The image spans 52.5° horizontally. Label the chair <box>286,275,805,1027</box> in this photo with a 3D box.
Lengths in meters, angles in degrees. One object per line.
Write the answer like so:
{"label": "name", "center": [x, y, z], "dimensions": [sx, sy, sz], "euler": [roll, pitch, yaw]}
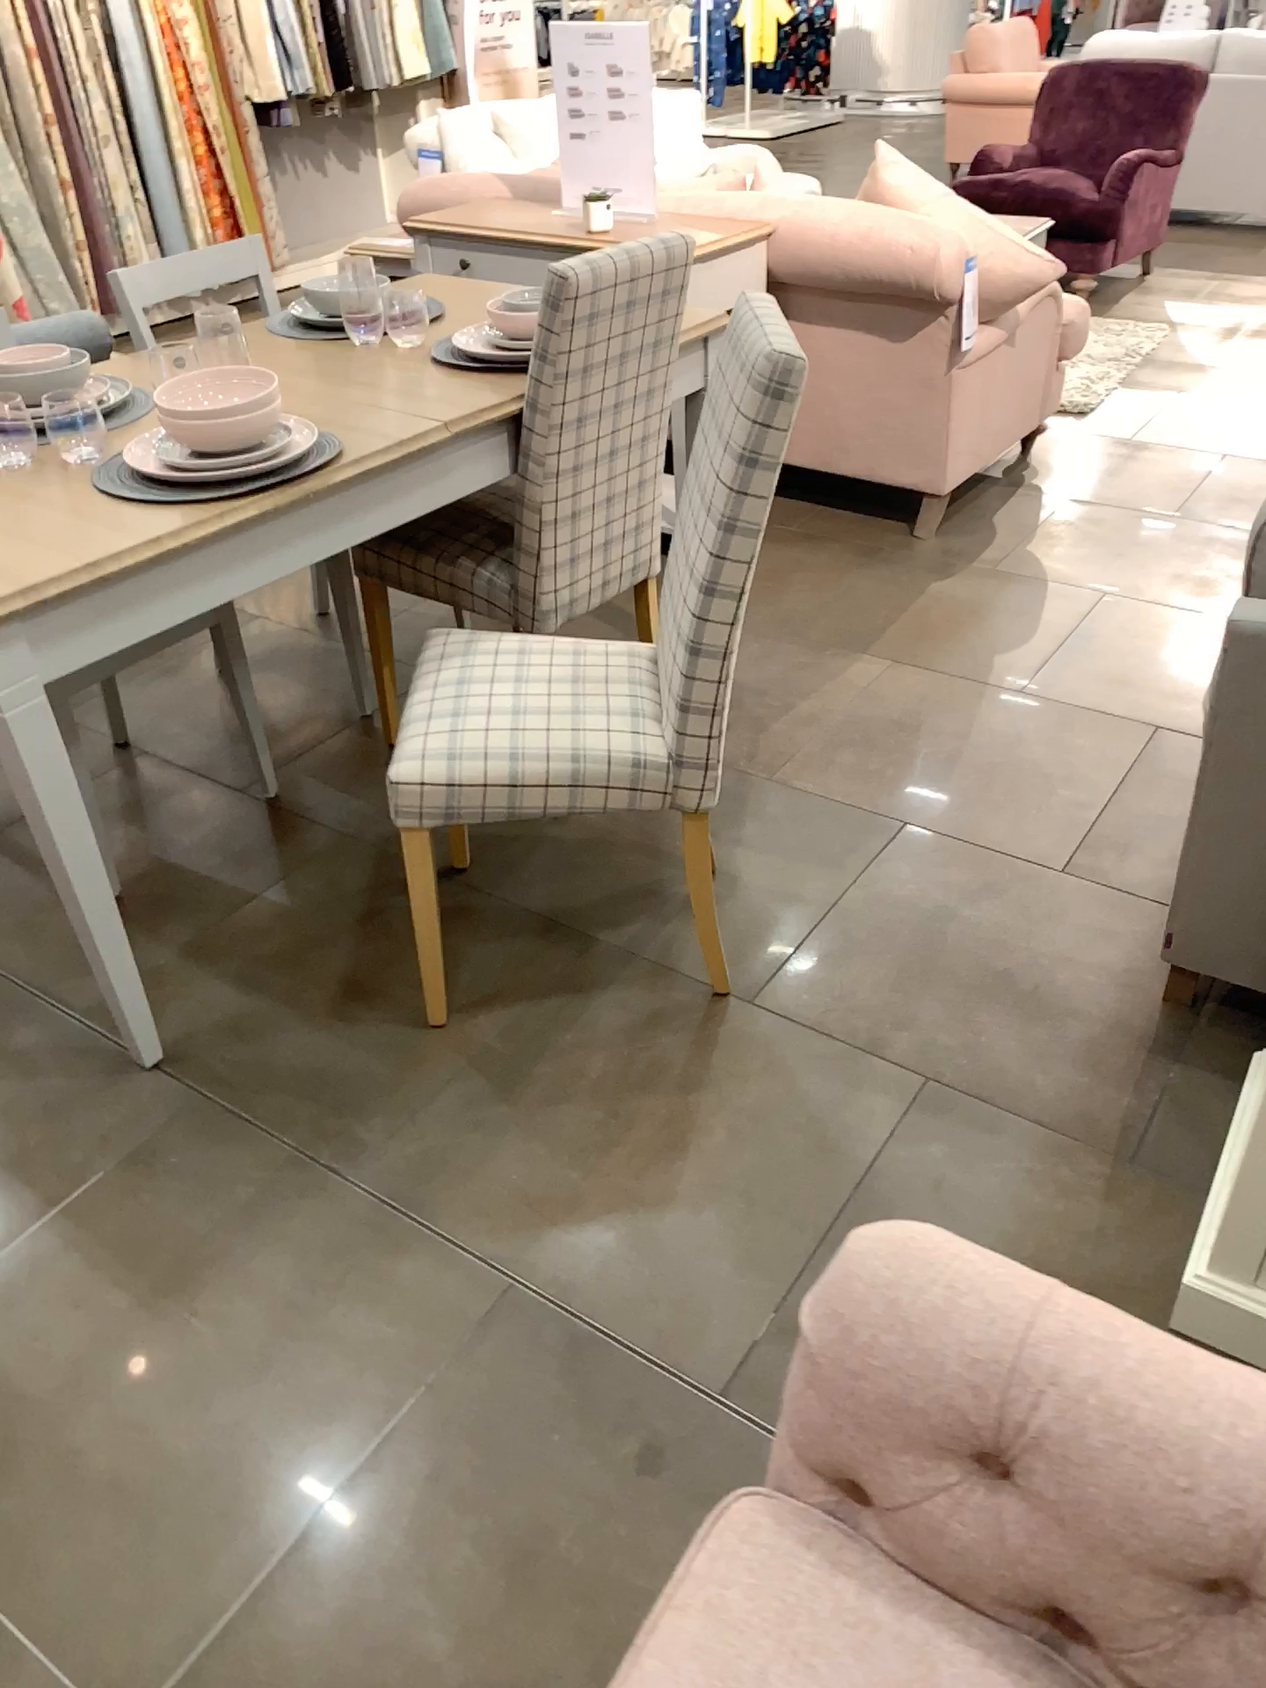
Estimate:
{"label": "chair", "center": [-0.091, -0.254, 1.837], "dimensions": [0.566, 0.937, 0.432], "euler": [-4, 34, -2]}
